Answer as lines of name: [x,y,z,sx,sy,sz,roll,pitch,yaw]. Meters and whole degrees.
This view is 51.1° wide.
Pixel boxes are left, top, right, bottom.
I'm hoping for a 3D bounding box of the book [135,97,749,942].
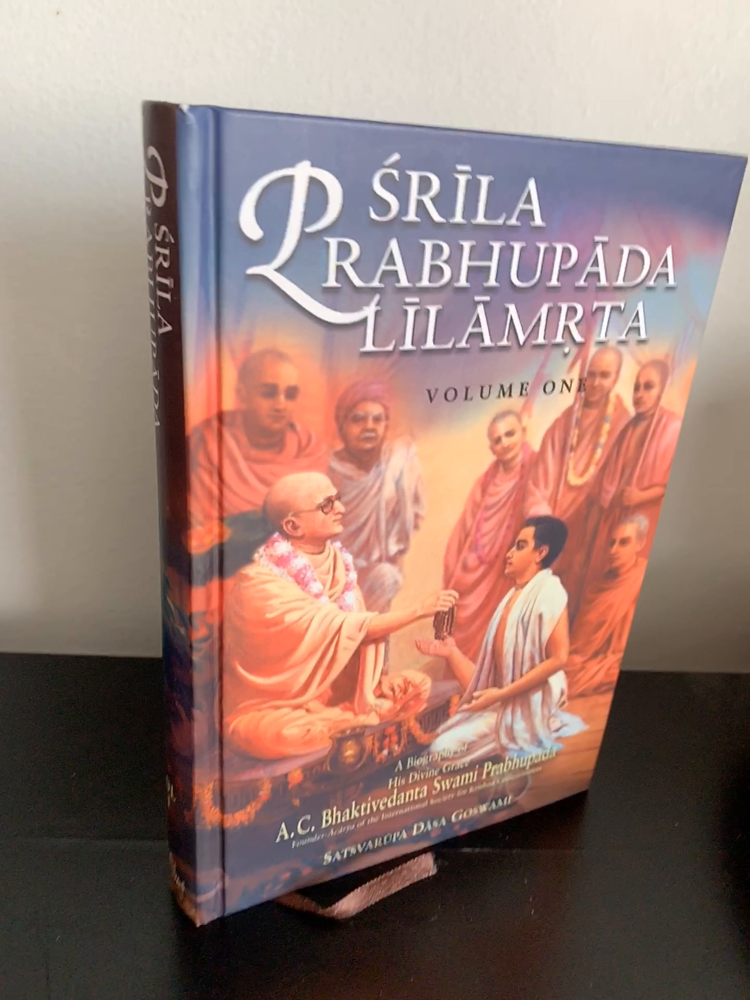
book: [0.018,0.015,0.241,0.162,0.233,0.030,-7,26,-24]
